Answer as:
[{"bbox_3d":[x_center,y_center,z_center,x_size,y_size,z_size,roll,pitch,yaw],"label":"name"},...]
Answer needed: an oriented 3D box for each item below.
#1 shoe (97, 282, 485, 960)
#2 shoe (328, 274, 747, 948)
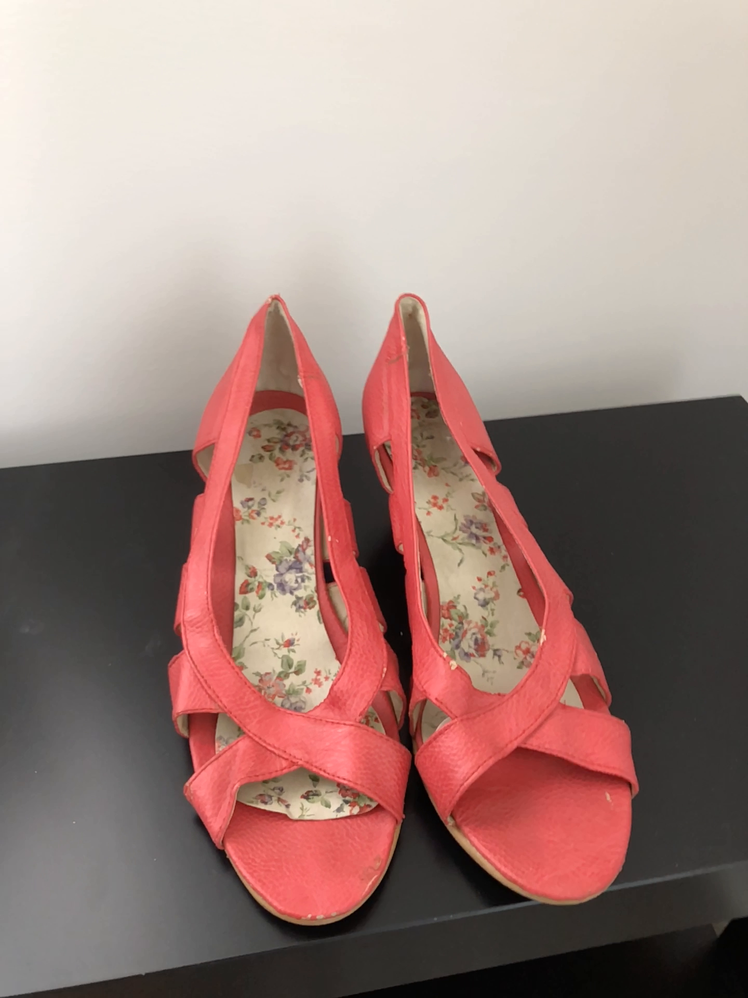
[{"bbox_3d":[-0.040,0.021,0.300,0.087,0.100,0.221,-7,42,-9],"label":"shoe"},{"bbox_3d":[0.040,0.018,0.307,0.077,0.100,0.231,-7,42,-9],"label":"shoe"}]
